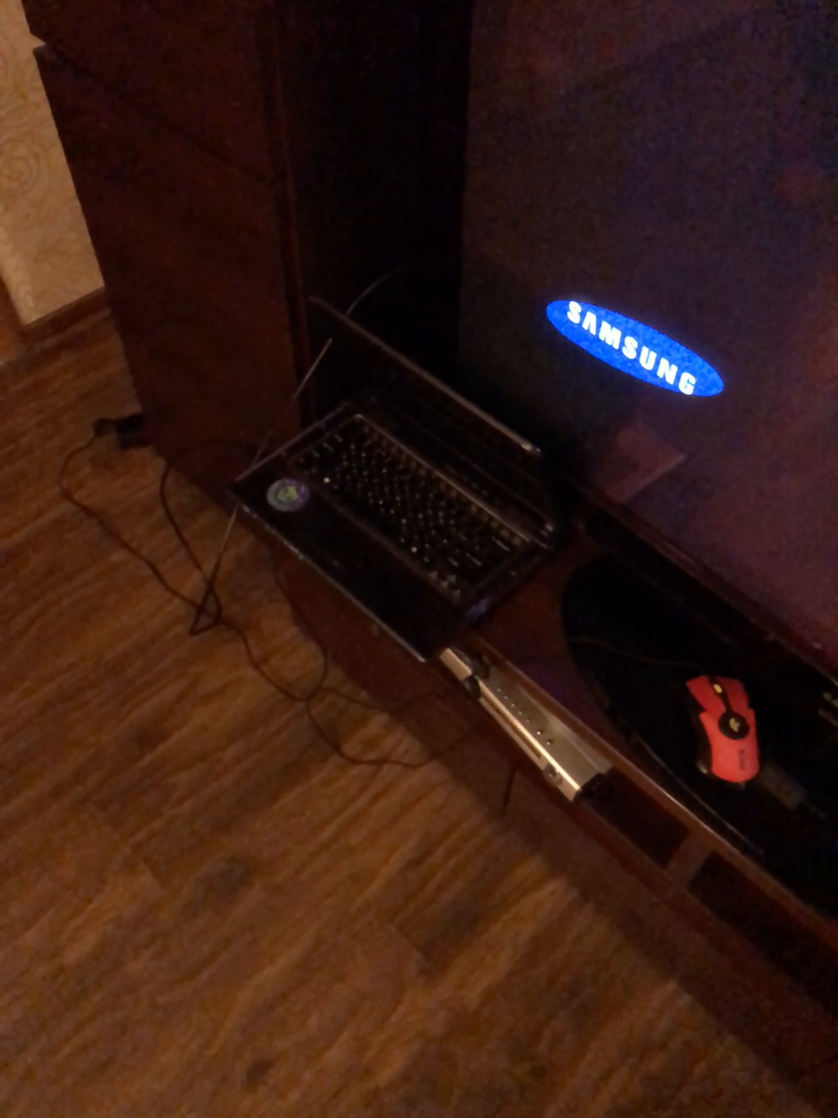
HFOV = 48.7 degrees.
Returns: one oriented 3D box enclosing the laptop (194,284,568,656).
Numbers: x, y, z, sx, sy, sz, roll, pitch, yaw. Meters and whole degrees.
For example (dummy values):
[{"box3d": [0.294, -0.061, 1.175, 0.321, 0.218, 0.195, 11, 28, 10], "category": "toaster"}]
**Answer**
[{"box3d": [-0.045, -0.105, 1.010, 0.336, 0.183, 0.200, 38, 60, 24], "category": "laptop"}]
